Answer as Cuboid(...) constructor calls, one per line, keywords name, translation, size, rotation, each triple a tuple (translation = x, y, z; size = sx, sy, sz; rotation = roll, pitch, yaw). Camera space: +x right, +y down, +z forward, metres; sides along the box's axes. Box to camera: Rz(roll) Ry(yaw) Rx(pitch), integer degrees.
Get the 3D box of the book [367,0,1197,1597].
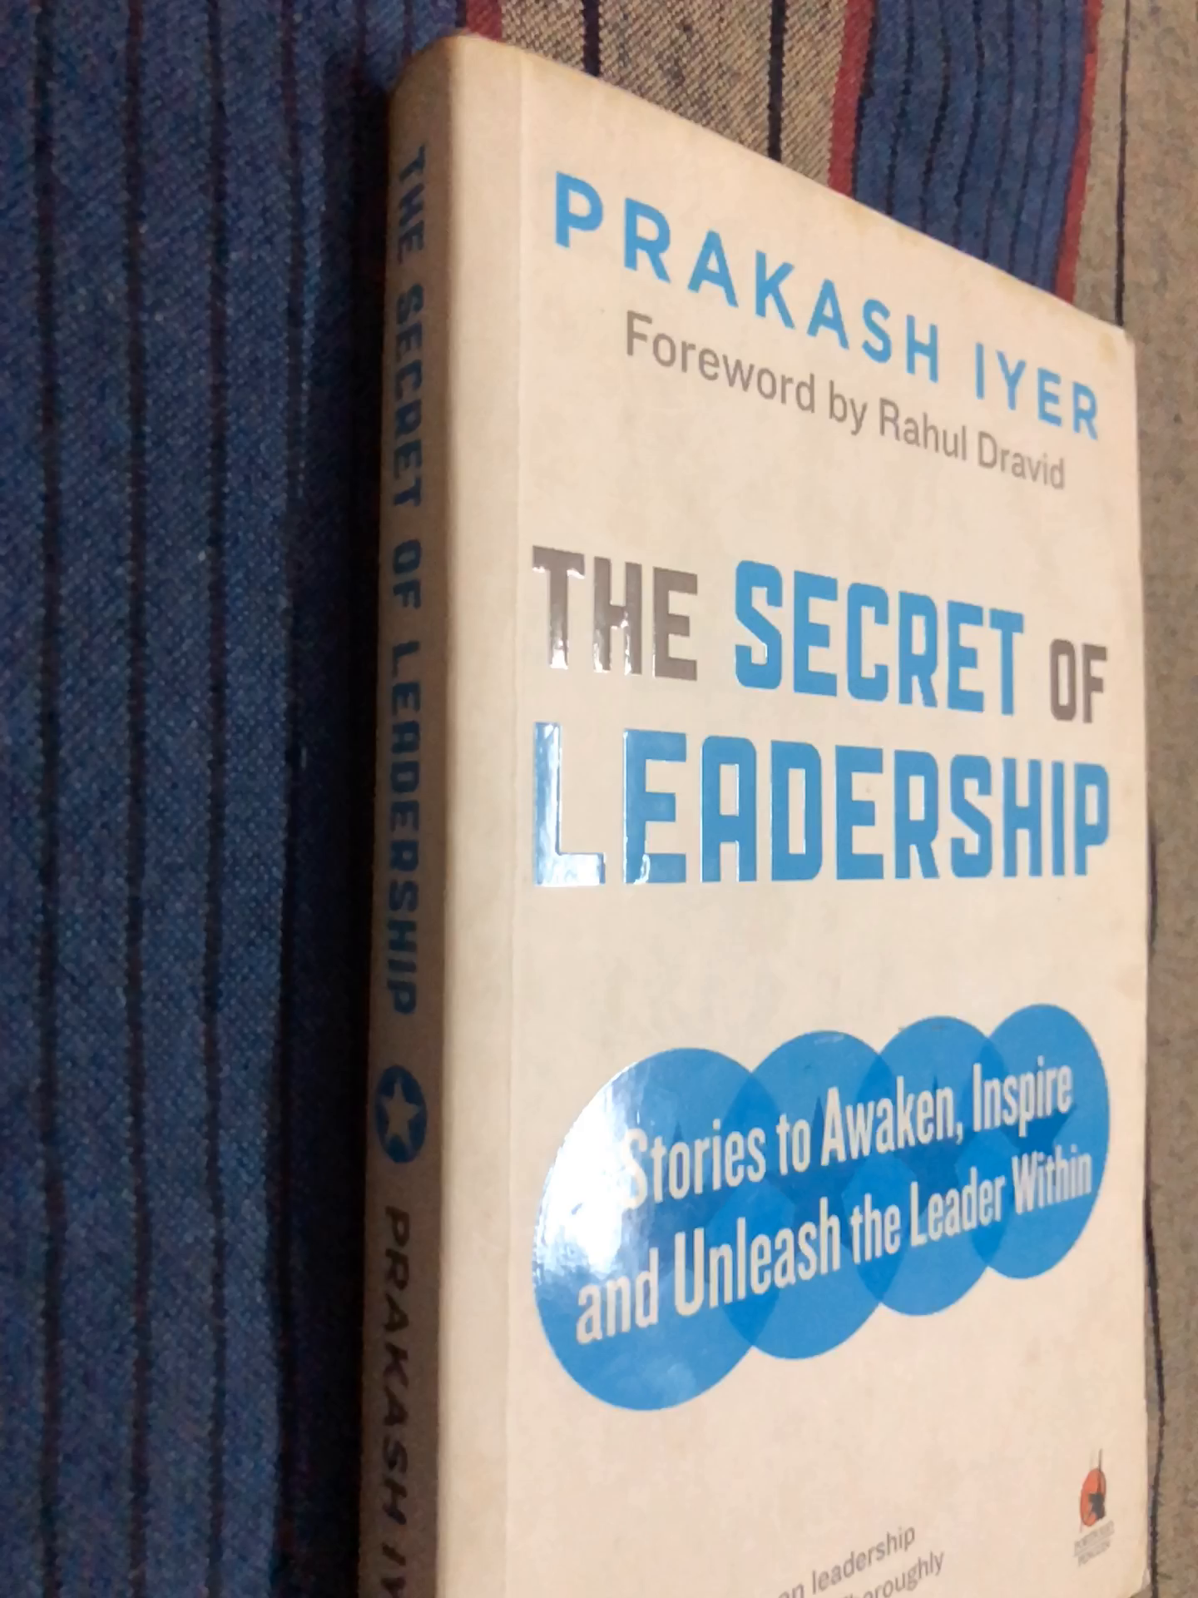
Cuboid(name="book", translation=(0.040, 0.015, 0.172), size=(0.141, 0.030, 0.190), rotation=(2, 87, -41))
